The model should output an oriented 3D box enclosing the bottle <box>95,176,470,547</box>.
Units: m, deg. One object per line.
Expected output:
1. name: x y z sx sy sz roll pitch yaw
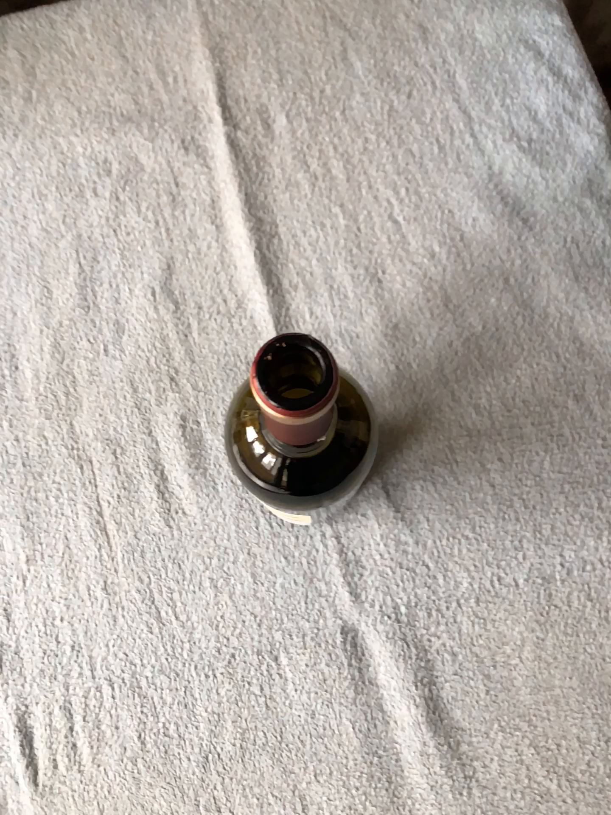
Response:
1. bottle: -0.004 0.013 0.350 0.080 0.300 0.080 0 78 1
